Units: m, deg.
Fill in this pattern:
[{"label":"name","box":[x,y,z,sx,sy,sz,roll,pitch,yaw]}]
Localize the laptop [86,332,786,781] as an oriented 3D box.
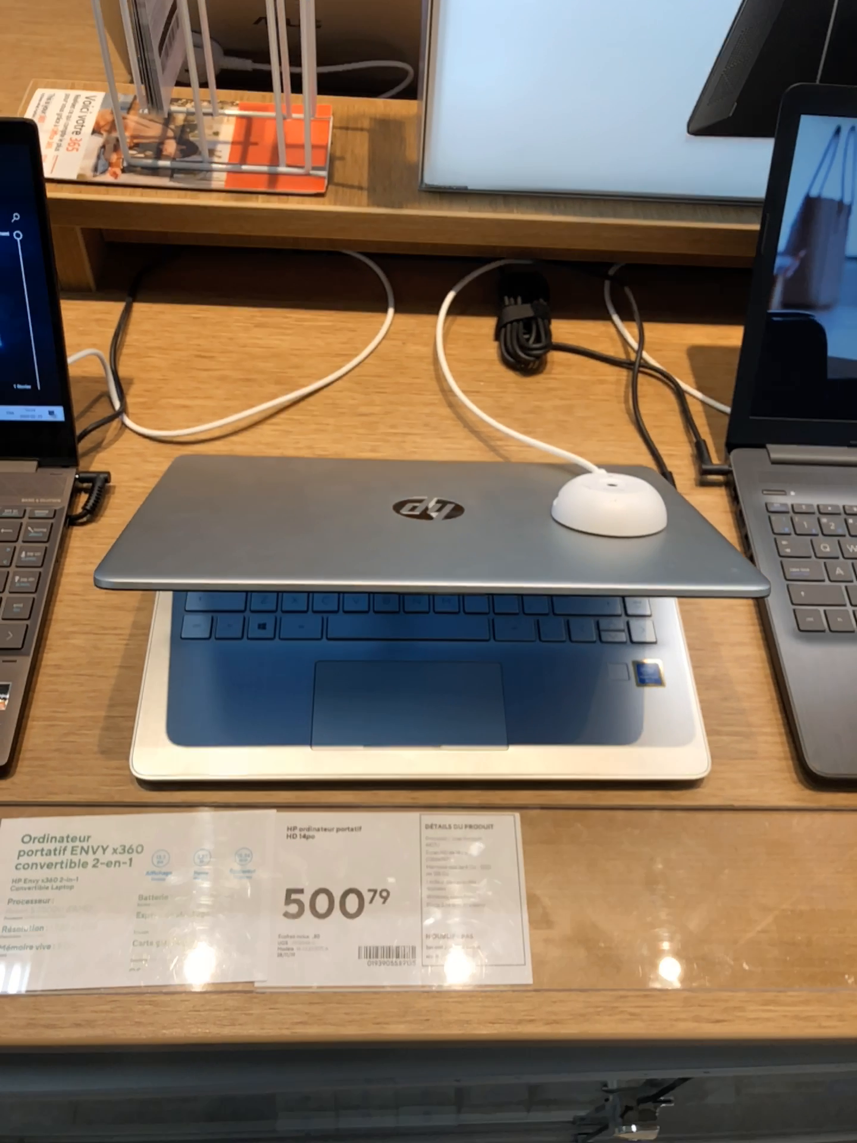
[{"label":"laptop","box":[0.000,-0.010,0.527,0.314,0.110,0.217,1,57,-4]}]
